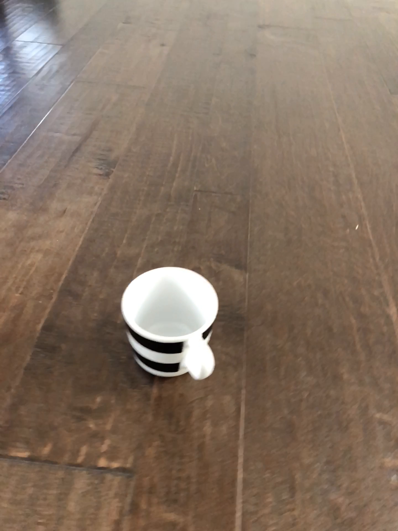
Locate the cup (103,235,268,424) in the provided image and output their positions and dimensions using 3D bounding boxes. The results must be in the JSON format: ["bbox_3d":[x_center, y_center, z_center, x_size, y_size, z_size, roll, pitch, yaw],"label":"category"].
[{"bbox_3d":[-0.017,0.051,0.392,0.090,0.079,0.121,-20,48,-23],"label":"cup"}]
